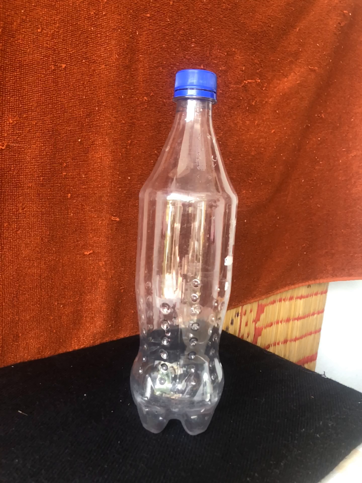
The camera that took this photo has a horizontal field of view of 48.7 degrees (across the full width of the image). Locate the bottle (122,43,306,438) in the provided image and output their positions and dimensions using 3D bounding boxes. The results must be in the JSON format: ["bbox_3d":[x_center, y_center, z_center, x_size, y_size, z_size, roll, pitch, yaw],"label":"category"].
[{"bbox_3d":[0.013,0.005,0.294,0.090,0.249,0.080,5,10,-7],"label":"bottle"}]
